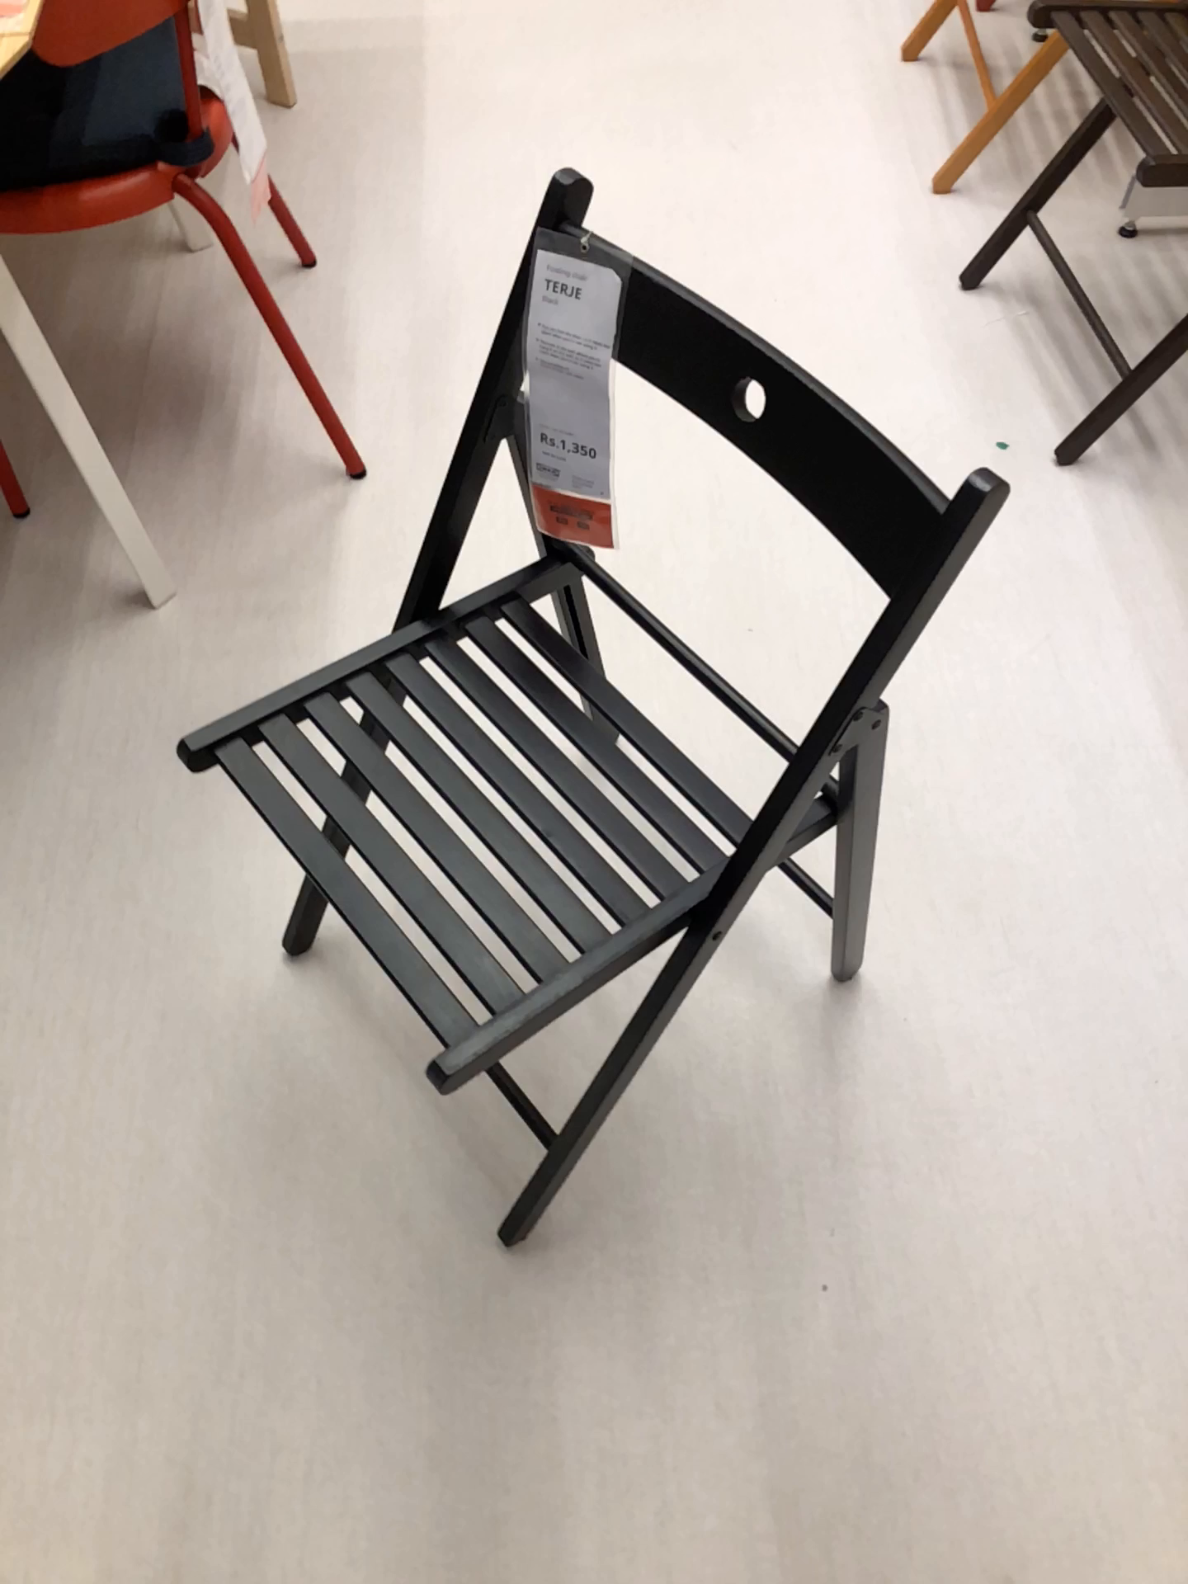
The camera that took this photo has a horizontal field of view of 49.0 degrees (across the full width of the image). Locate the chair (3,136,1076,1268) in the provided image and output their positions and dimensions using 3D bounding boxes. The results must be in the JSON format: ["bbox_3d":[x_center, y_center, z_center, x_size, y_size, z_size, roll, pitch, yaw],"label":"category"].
[{"bbox_3d":[-0.034,-0.017,1.095,0.481,0.727,0.441,-35,64,-19],"label":"chair"}]
